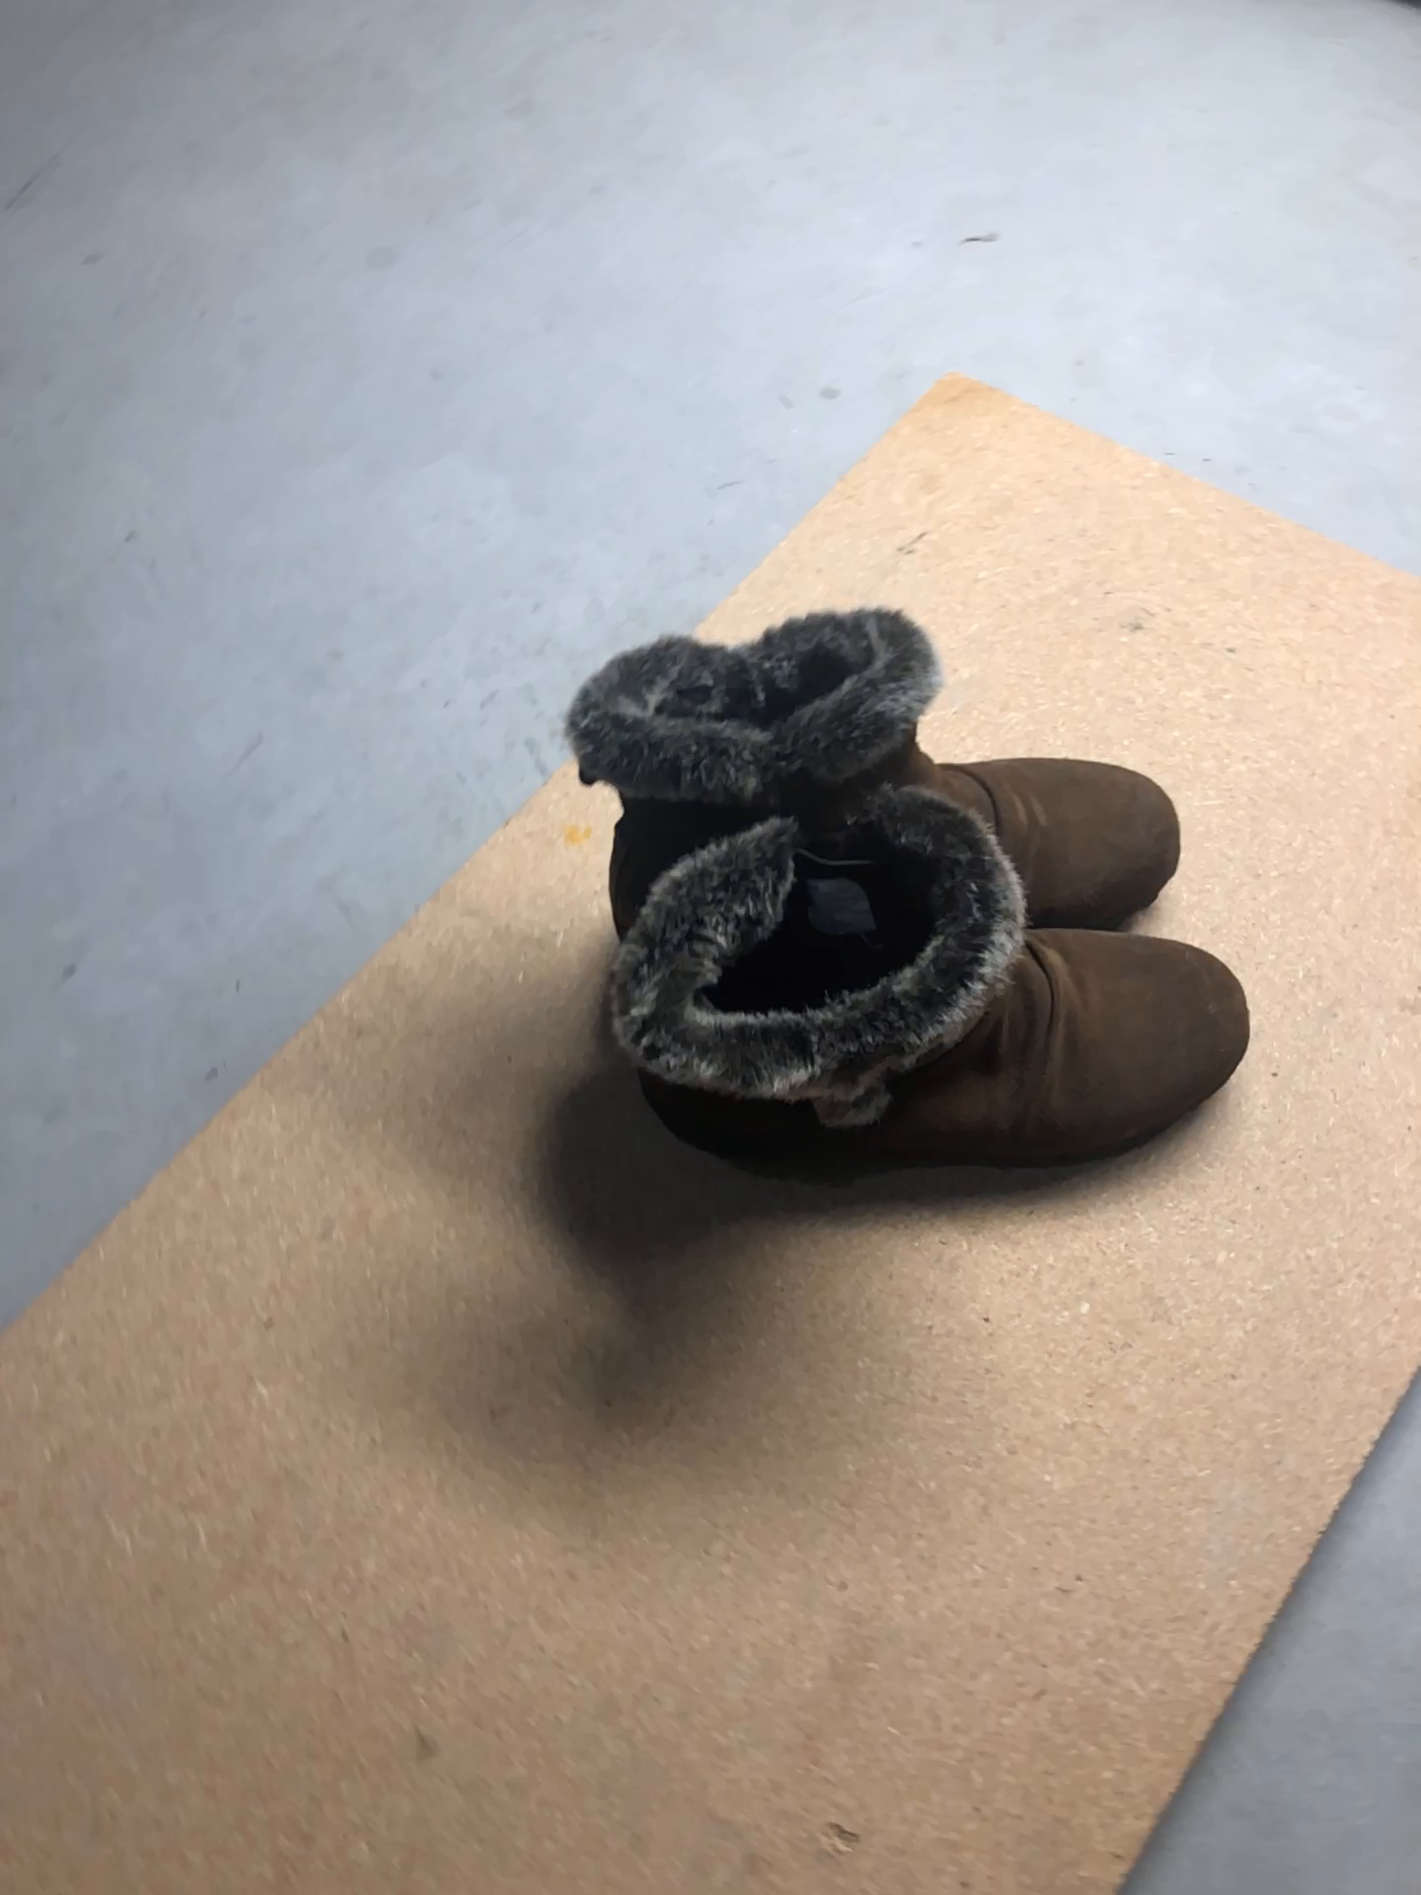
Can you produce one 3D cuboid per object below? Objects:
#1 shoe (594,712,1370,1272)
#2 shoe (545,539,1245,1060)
[{"bbox_3d":[0.095,0.030,0.637,0.250,0.220,0.100,-8,59,0],"label":"shoe"},{"bbox_3d":[0.074,-0.056,0.703,0.260,0.200,0.100,-8,59,0],"label":"shoe"}]
